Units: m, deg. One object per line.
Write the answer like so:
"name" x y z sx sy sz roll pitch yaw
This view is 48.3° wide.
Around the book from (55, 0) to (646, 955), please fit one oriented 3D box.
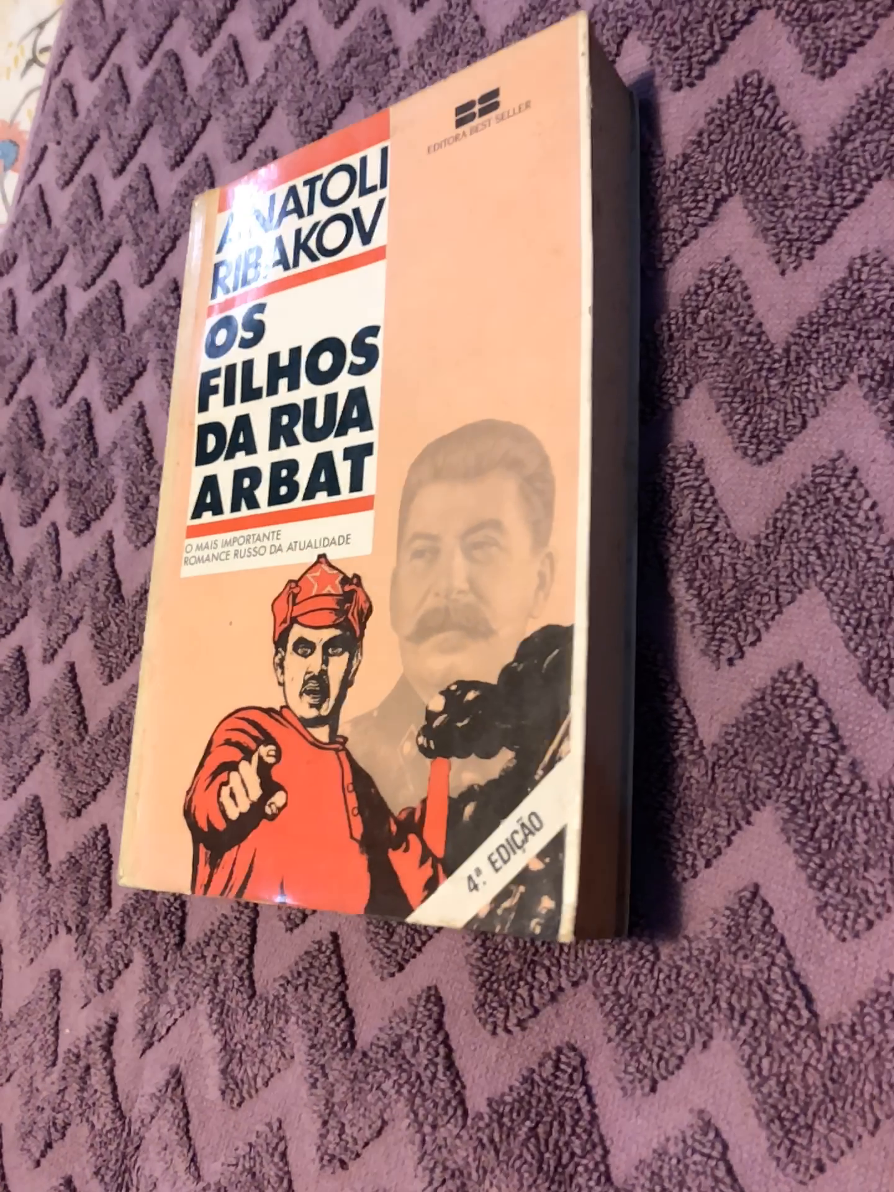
"book" -0.028 -0.022 0.244 0.140 0.040 0.190 -7 77 34
